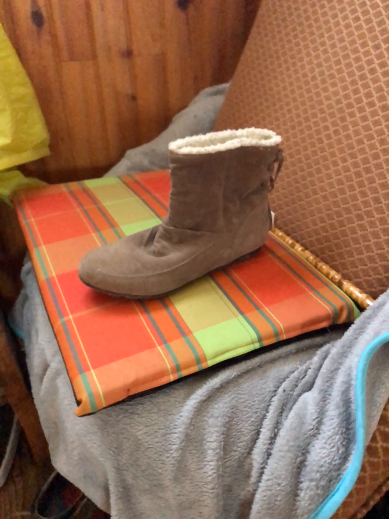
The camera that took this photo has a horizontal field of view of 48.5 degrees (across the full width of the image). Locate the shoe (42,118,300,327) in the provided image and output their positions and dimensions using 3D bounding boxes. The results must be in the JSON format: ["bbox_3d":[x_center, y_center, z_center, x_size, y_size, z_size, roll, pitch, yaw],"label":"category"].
[{"bbox_3d":[-0.019,-0.055,0.507,0.261,0.159,0.100,-18,36,-23],"label":"shoe"}]
